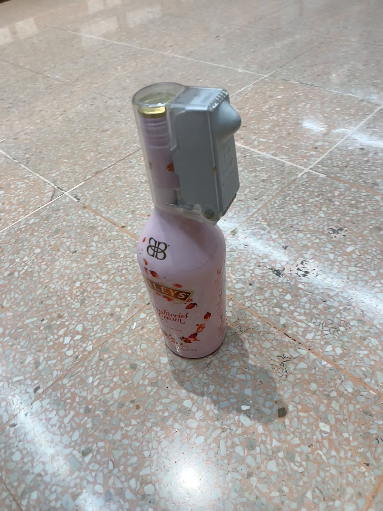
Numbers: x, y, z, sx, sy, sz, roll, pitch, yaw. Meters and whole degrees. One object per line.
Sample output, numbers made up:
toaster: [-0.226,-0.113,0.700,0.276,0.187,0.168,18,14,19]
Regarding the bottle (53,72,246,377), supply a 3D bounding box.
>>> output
bottle: [-0.016,-0.011,0.345,0.104,0.253,0.073,24,53,29]
